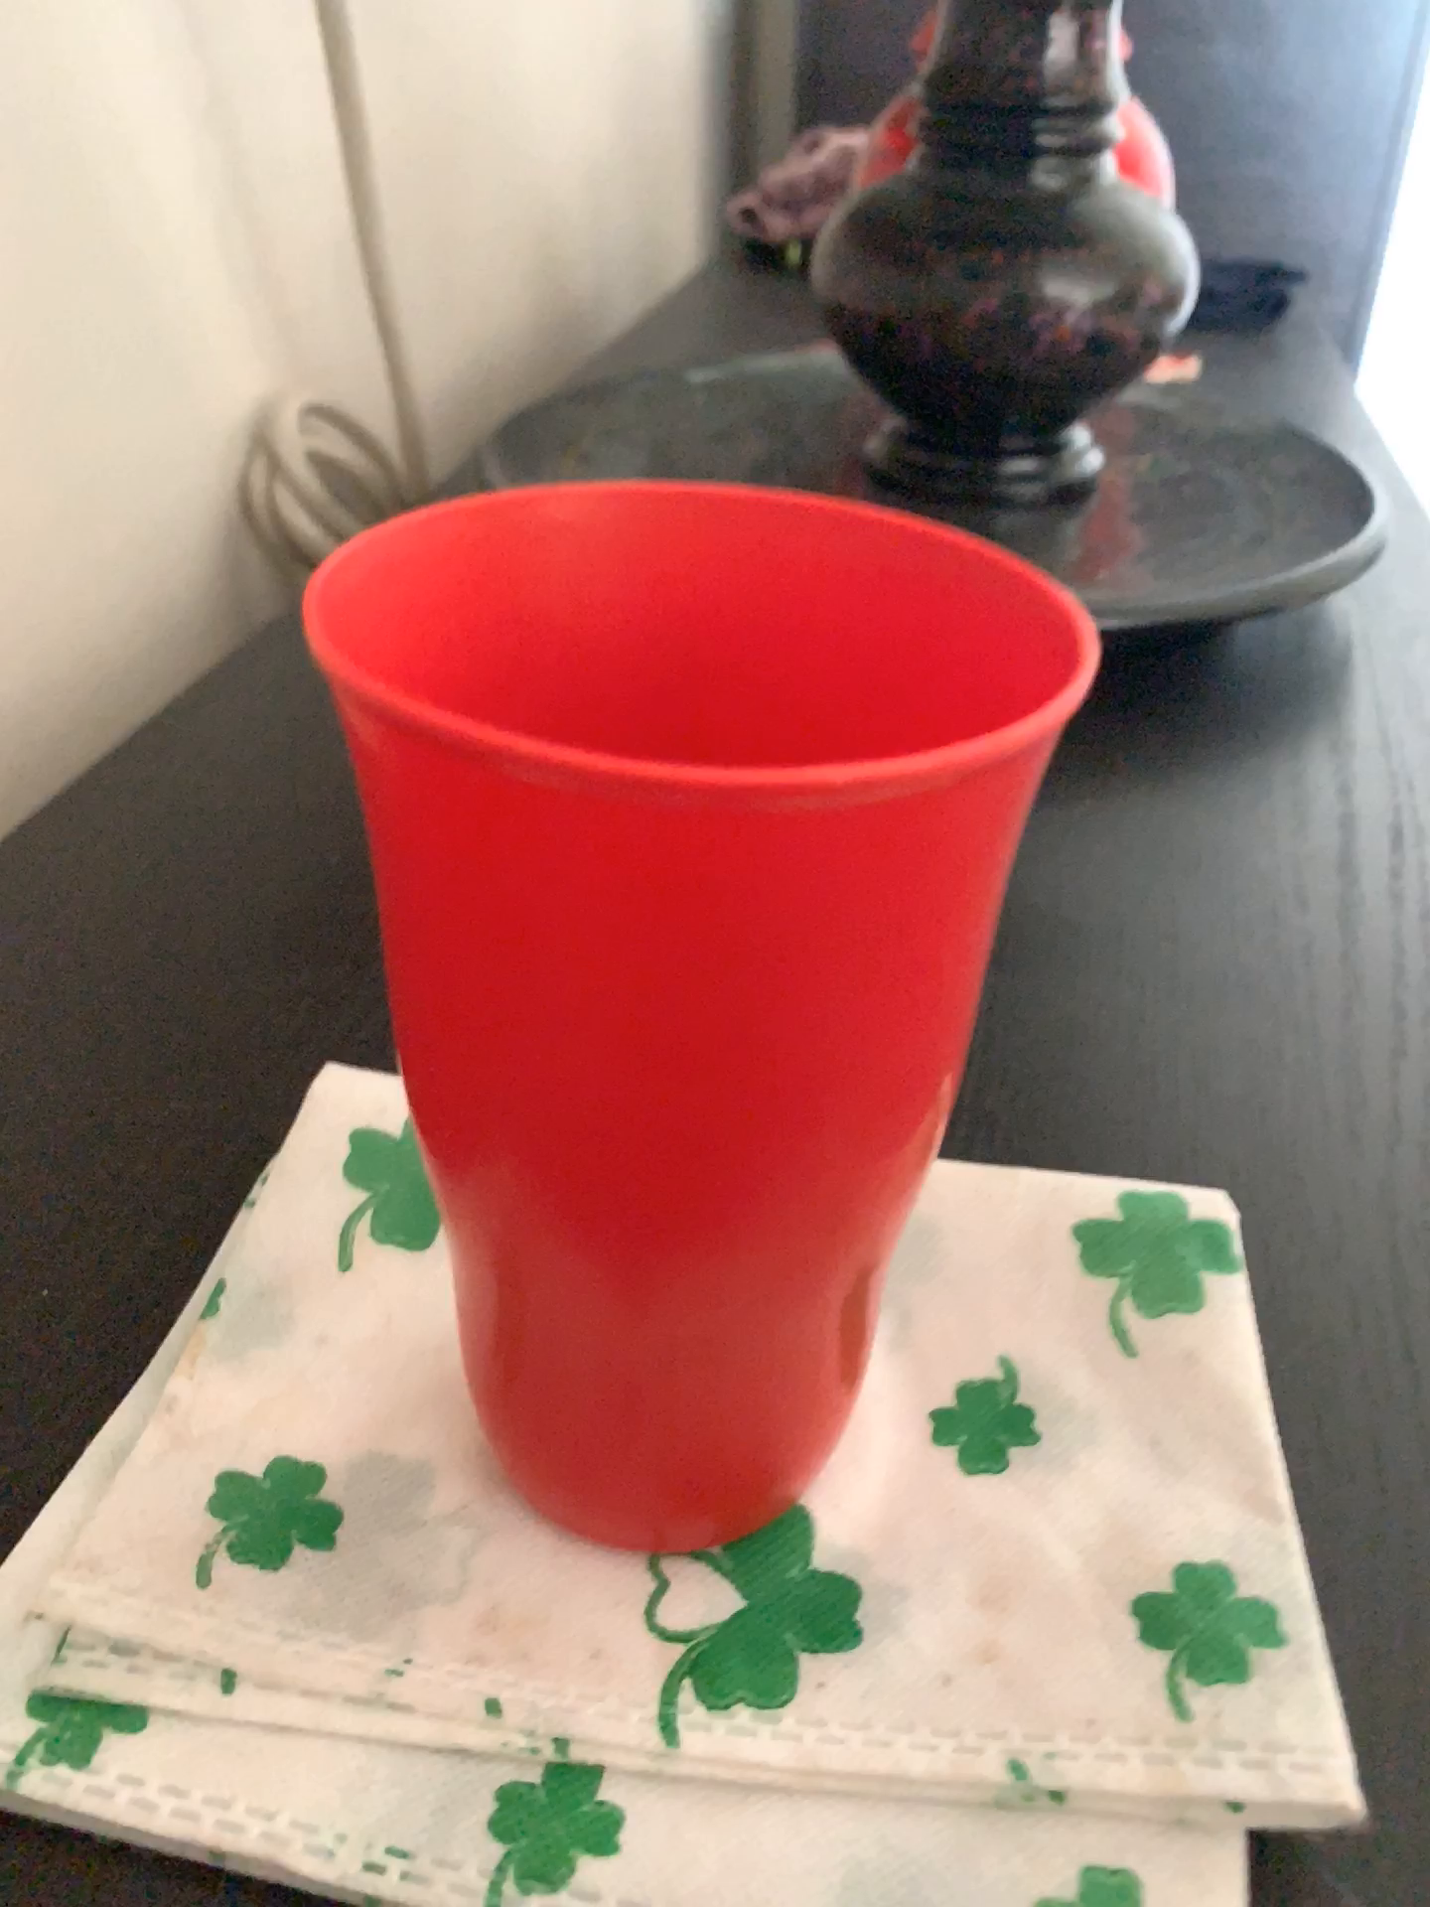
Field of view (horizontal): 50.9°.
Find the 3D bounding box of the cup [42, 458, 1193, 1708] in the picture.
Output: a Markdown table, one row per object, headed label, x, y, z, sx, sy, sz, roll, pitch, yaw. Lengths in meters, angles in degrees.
| label | x | y | z | sx | sy | sz | roll | pitch | yaw |
| --- | --- | --- | --- | --- | --- | --- | --- | --- | --- |
| cup | -0.004 | 0.005 | 0.166 | 0.082 | 0.091 | 0.080 | 2 | 32 | -1 |
